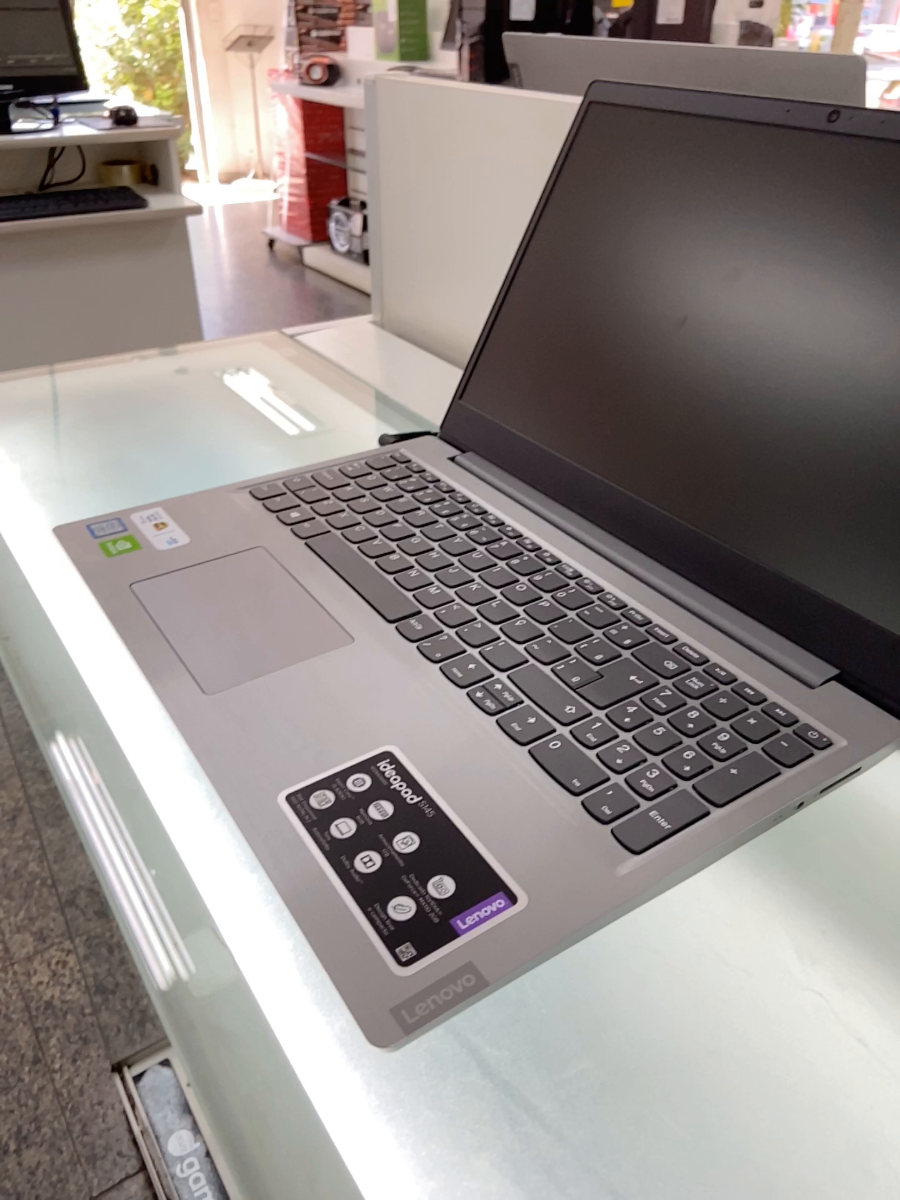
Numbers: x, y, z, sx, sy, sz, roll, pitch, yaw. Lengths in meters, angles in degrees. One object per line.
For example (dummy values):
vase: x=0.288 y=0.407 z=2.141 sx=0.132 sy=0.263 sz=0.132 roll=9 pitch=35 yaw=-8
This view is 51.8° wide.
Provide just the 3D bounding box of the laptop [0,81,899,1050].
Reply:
laptop: x=0.032 y=-0.098 z=0.417 sx=0.366 sy=0.201 sz=0.360 roll=-20 pitch=38 yaw=-28
